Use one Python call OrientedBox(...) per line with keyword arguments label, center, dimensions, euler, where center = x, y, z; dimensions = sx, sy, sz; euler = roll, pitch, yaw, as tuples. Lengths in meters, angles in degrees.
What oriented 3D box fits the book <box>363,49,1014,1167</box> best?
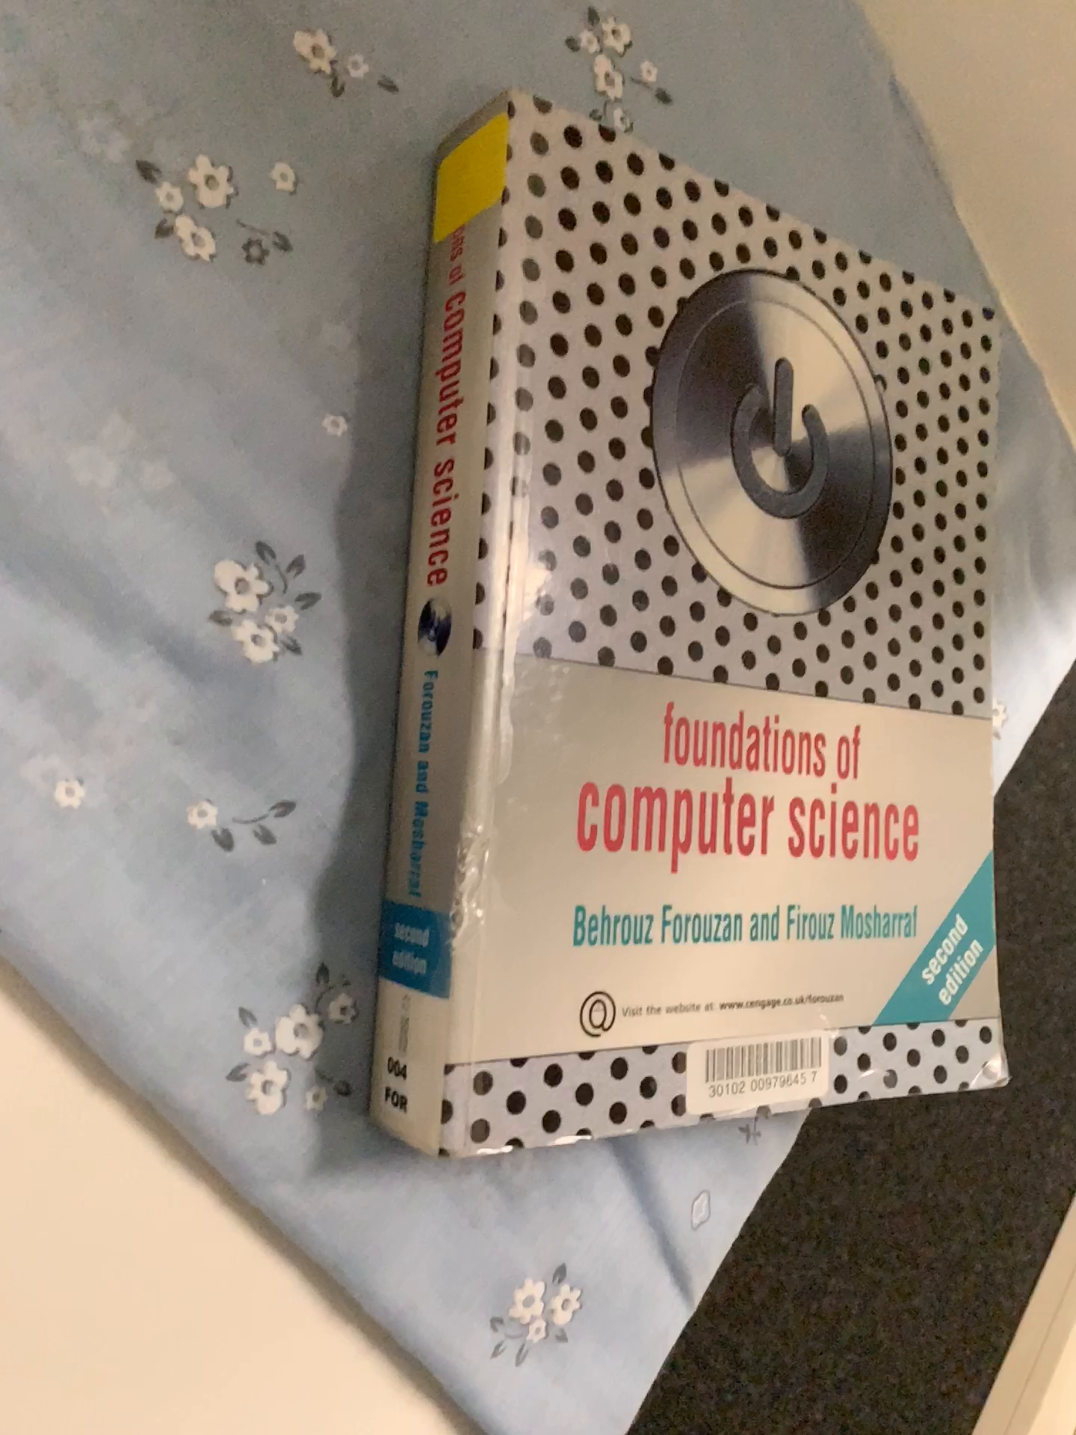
OrientedBox(label="book", center=(0.056, -0.020, 0.309), dimensions=(0.192, 0.040, 0.246), euler=(6, 84, -33))
